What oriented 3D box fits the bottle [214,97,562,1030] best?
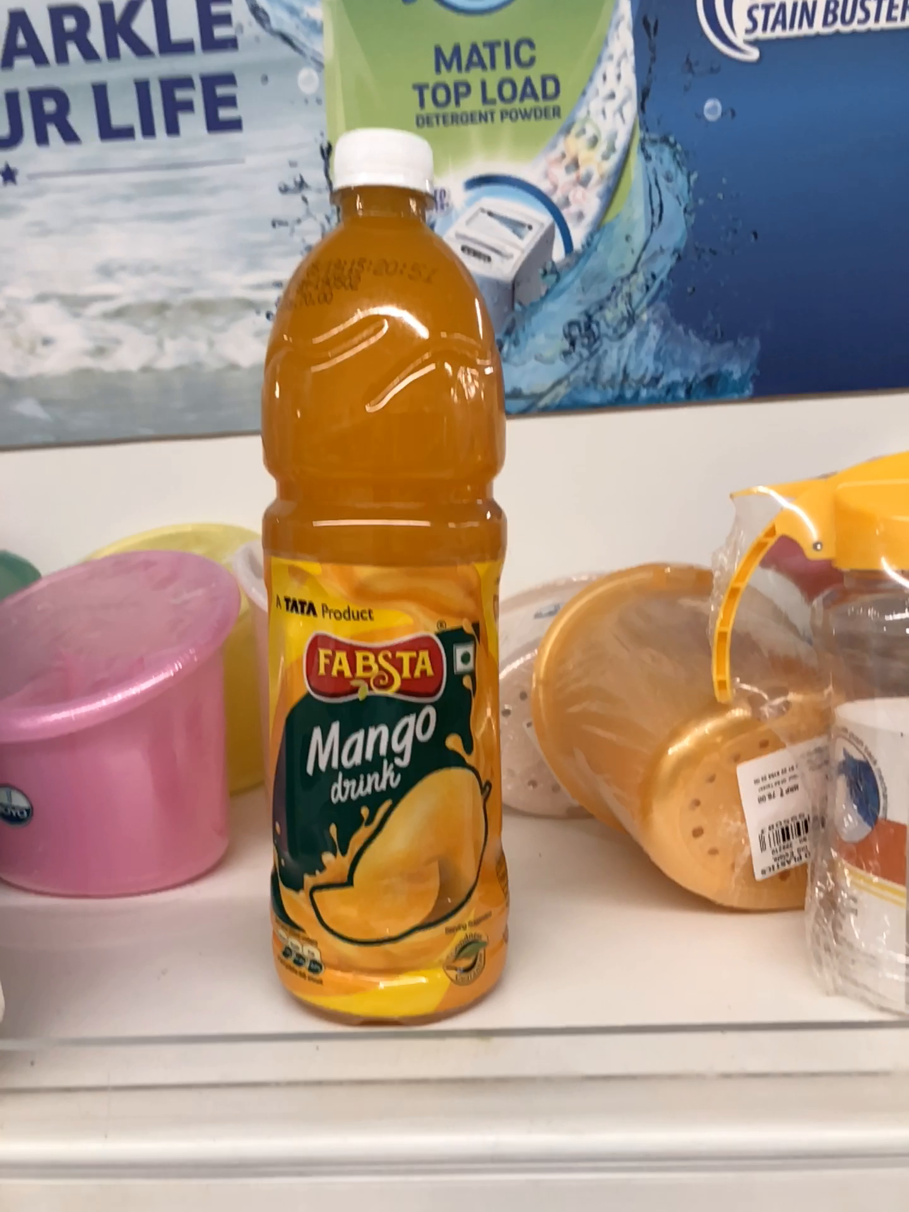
[{"bbox_3d":[-0.021,-0.009,0.320,0.090,0.259,0.080,1,9,-2],"label":"bottle"}]
